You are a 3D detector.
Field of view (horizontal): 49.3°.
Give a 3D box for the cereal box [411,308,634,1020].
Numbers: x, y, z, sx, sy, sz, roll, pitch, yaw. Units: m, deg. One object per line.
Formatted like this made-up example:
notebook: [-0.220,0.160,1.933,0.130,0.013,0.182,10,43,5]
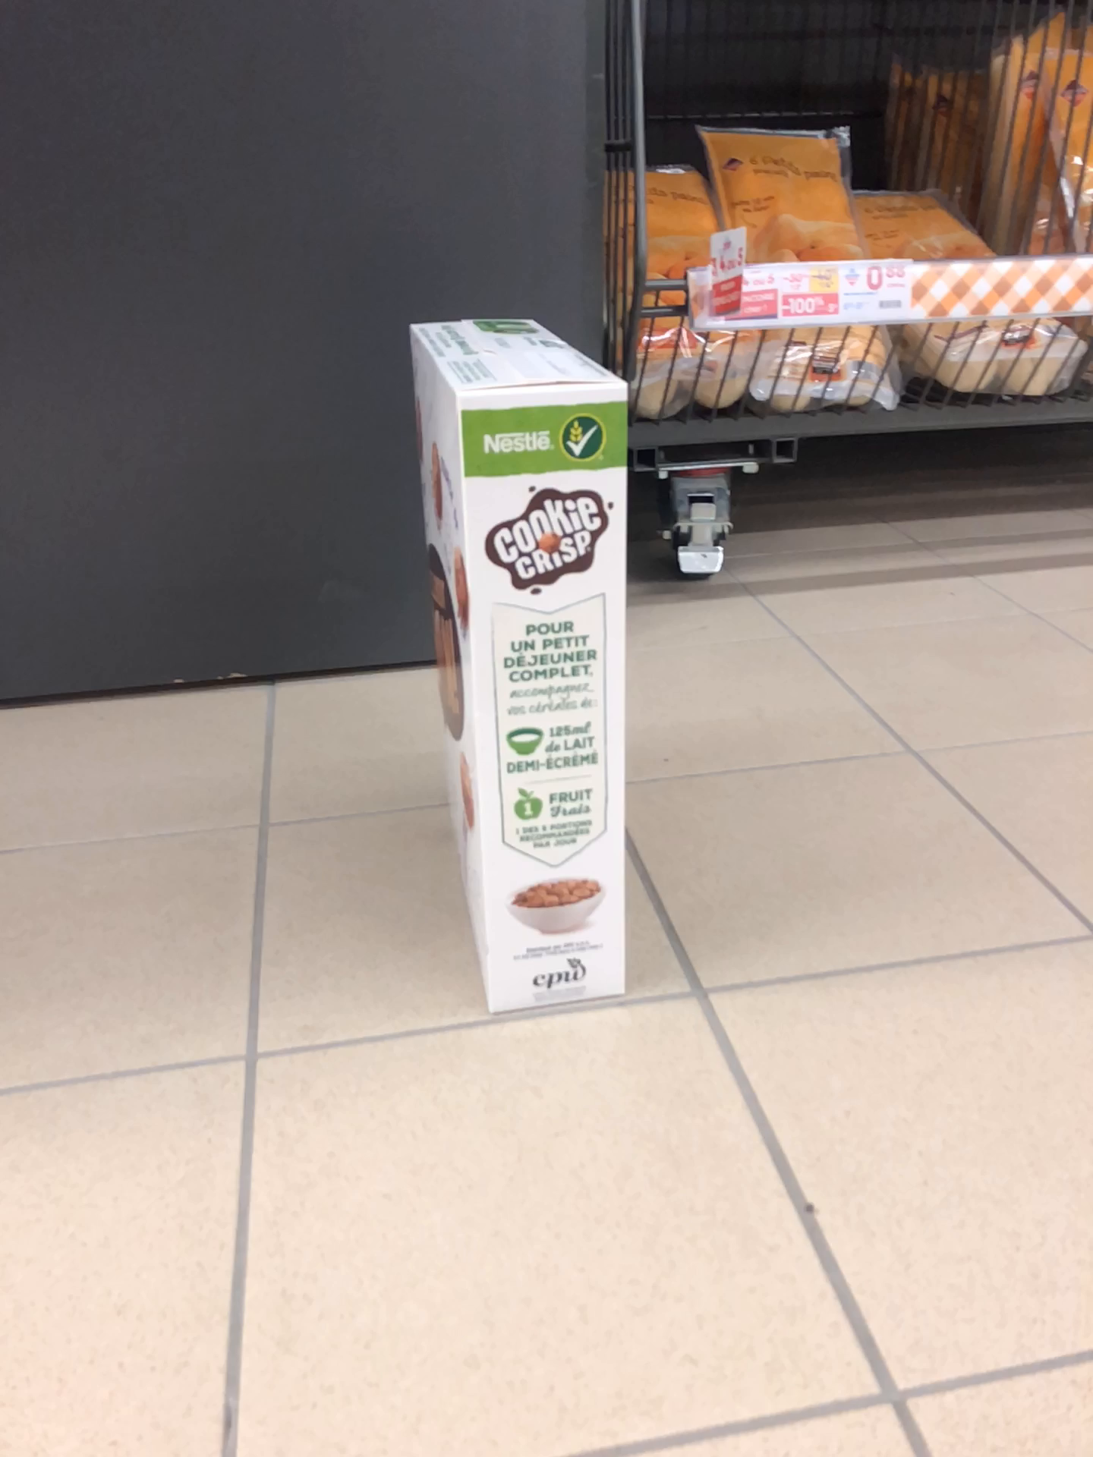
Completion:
cereal box: [-0.017,-0.040,0.553,0.060,0.268,0.201,-5,26,-9]
